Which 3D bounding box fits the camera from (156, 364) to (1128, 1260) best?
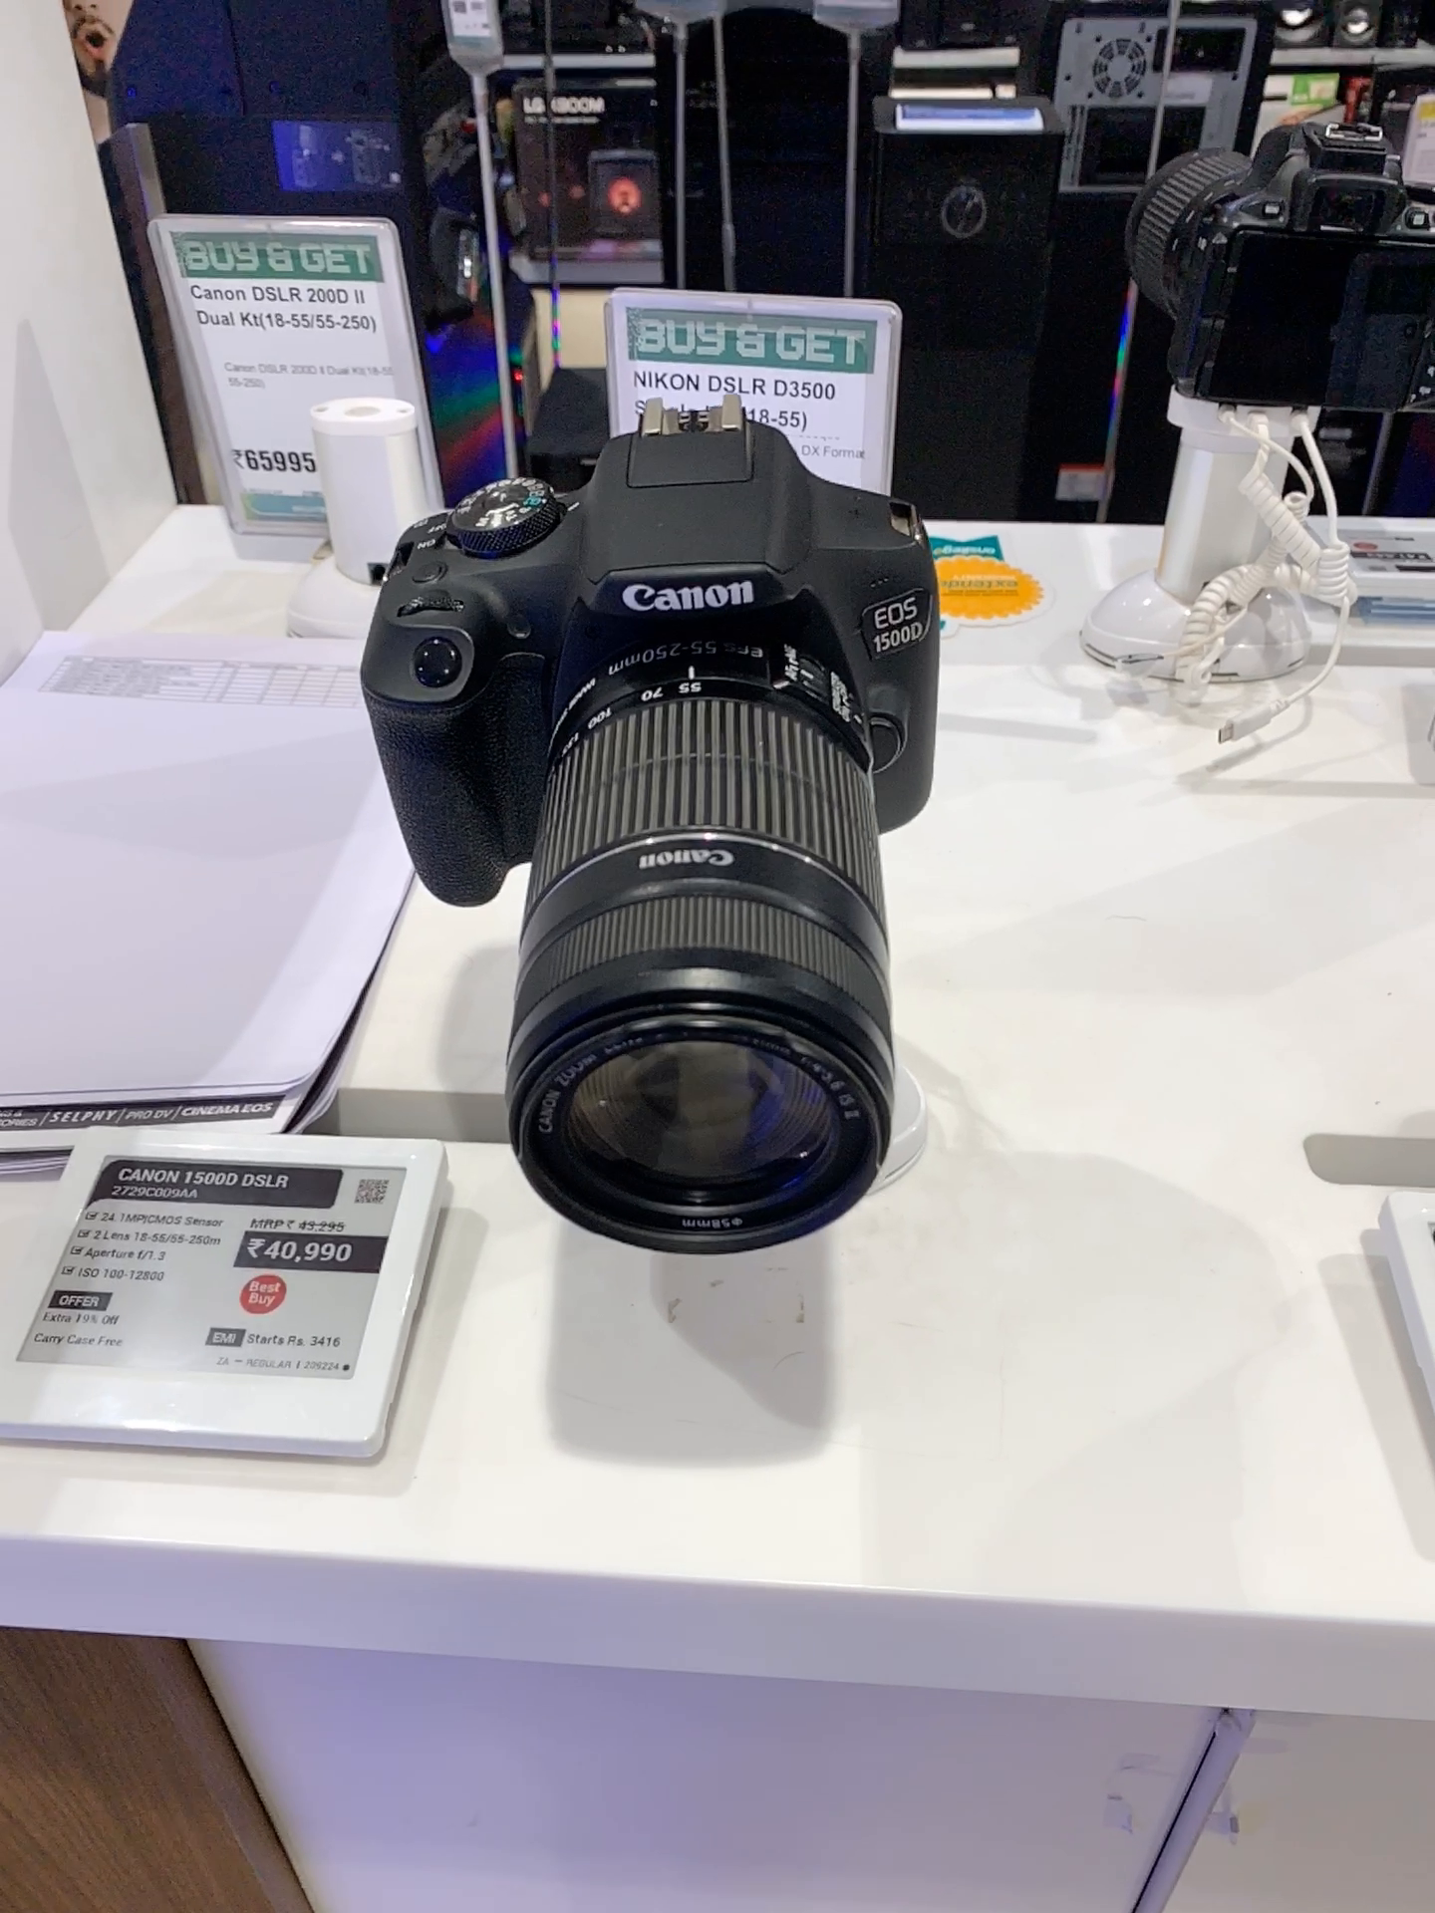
[{"bbox_3d":[-0.009,-0.043,0.299,0.130,0.090,0.191,0,39,1],"label":"camera"}]
